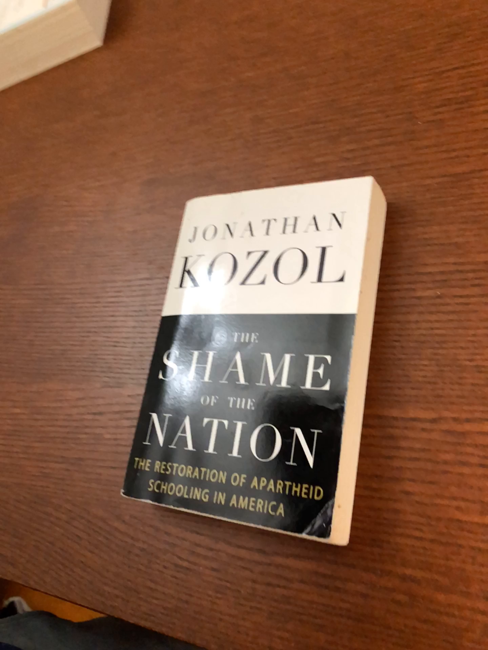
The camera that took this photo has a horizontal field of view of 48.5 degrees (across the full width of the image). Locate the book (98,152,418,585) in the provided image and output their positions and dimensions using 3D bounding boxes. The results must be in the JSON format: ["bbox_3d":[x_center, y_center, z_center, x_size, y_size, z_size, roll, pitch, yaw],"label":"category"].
[{"bbox_3d":[0.010,0.012,0.330,0.160,0.030,0.230,2,71,30],"label":"book"}]
